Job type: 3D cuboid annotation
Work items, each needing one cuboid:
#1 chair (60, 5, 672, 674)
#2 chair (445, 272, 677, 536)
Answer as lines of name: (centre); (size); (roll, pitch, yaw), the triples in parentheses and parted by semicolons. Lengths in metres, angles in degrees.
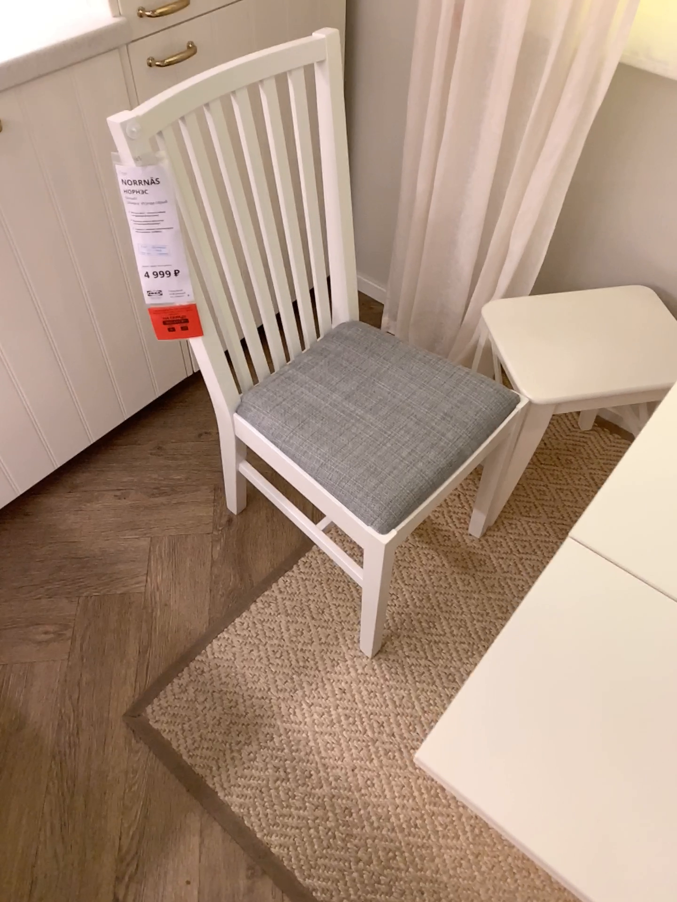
chair: (0.030, -0.161, 1.290); (0.621, 0.916, 0.552); (35, 58, 24)
chair: (0.550, -0.109, 1.591); (0.460, 0.388, 0.402); (-7, 52, -7)
